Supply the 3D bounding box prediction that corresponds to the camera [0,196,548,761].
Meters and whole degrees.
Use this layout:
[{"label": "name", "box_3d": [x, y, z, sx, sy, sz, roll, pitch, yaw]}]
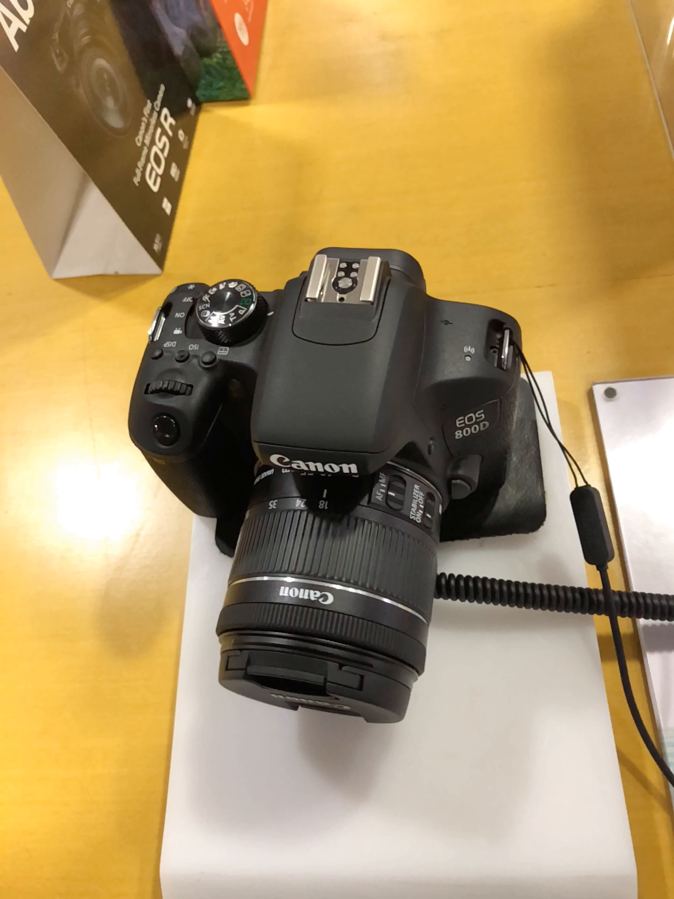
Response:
[{"label": "camera", "box_3d": [-0.007, 0.008, 0.221, 0.120, 0.090, 0.130, 5, 64, 12]}]
